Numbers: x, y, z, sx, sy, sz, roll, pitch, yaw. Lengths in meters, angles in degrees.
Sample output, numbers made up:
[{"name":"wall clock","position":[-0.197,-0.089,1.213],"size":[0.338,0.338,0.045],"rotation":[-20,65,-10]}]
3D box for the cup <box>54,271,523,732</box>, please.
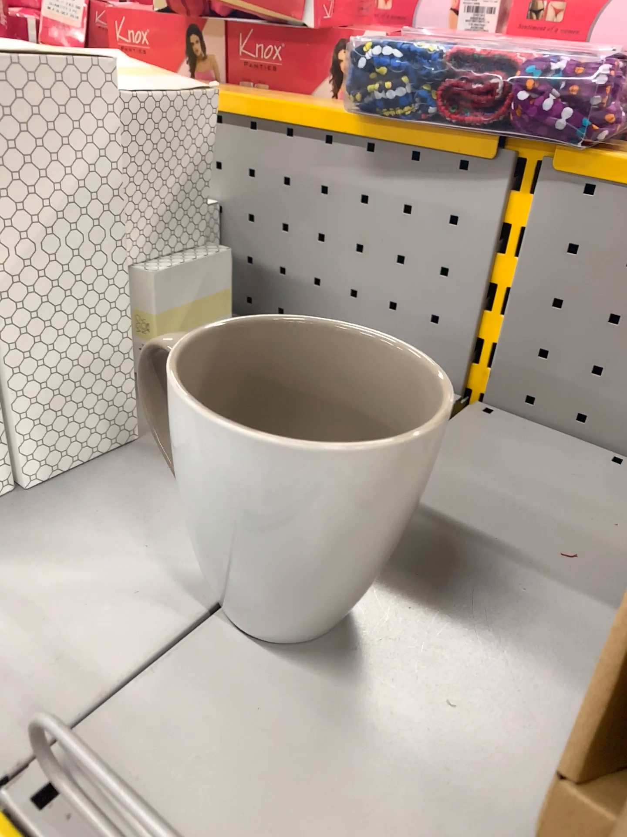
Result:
[{"name":"cup","position":[-0.014,0.017,0.260],"size":[0.140,0.100,0.100],"rotation":[26,36,31]}]
